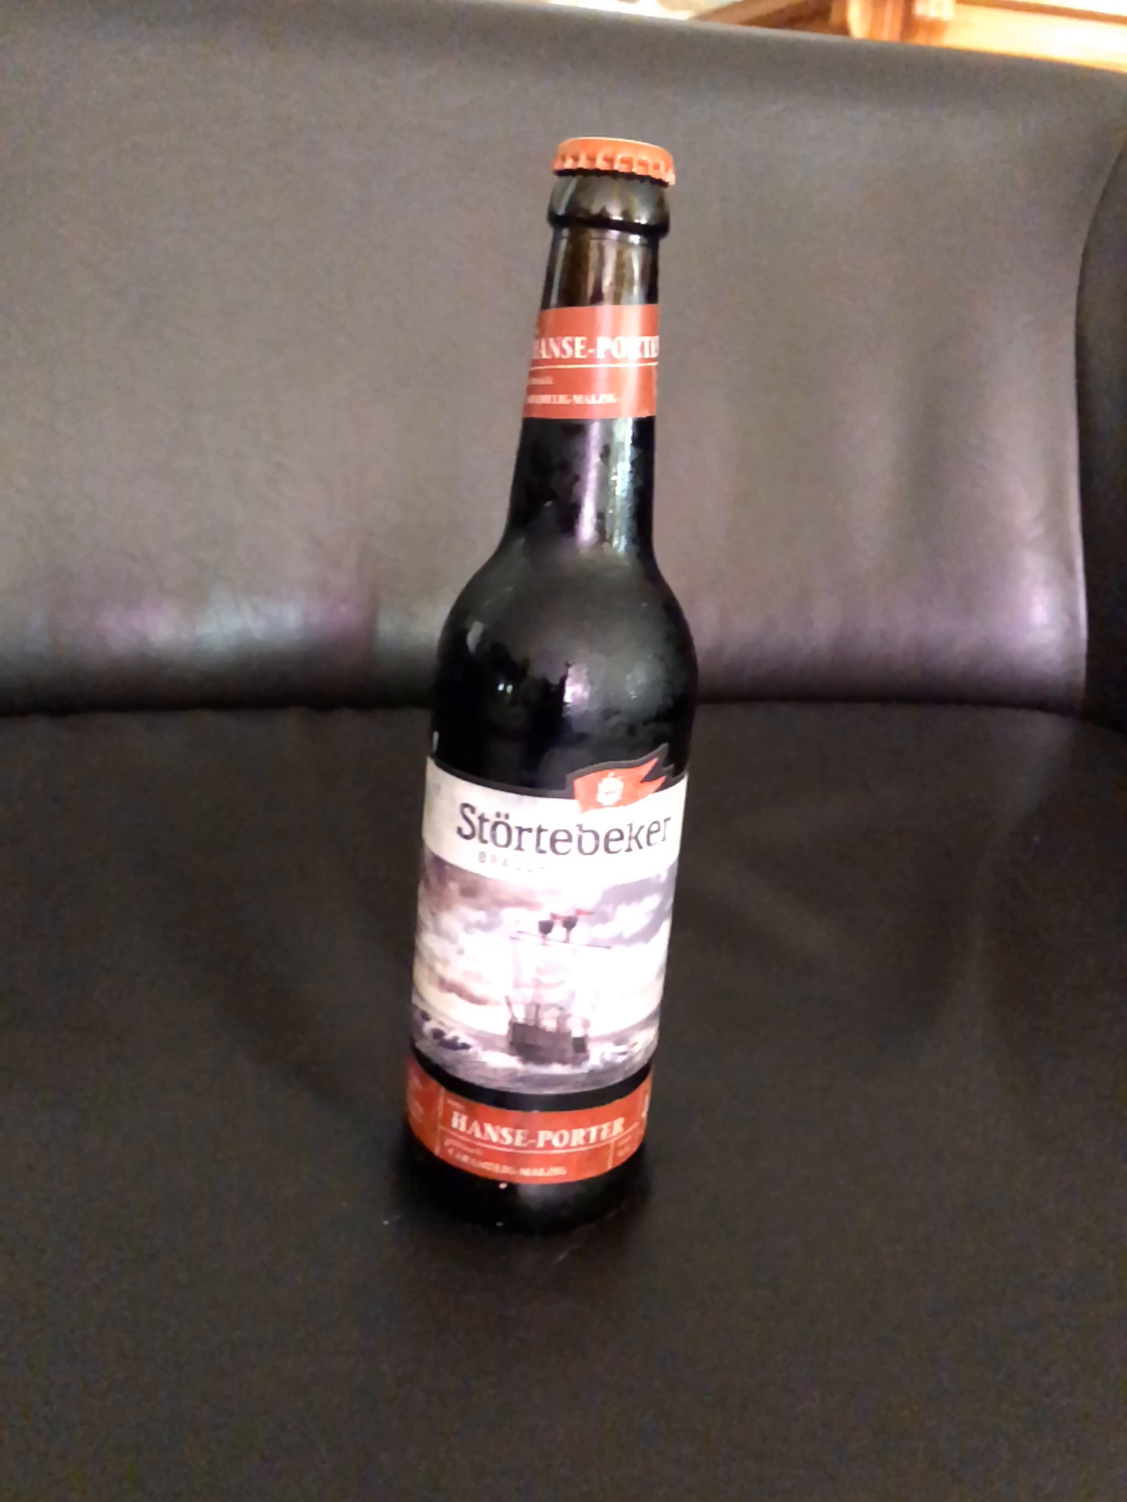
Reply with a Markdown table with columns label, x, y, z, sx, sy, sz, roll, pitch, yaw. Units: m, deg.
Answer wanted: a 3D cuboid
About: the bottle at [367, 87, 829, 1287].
| label | x | y | z | sx | sy | sz | roll | pitch | yaw |
| --- | --- | --- | --- | --- | --- | --- | --- | --- | --- |
| bottle | 0.002 | -0.007 | 0.323 | 0.080 | 0.279 | 0.080 | 5 | 19 | -2 |
